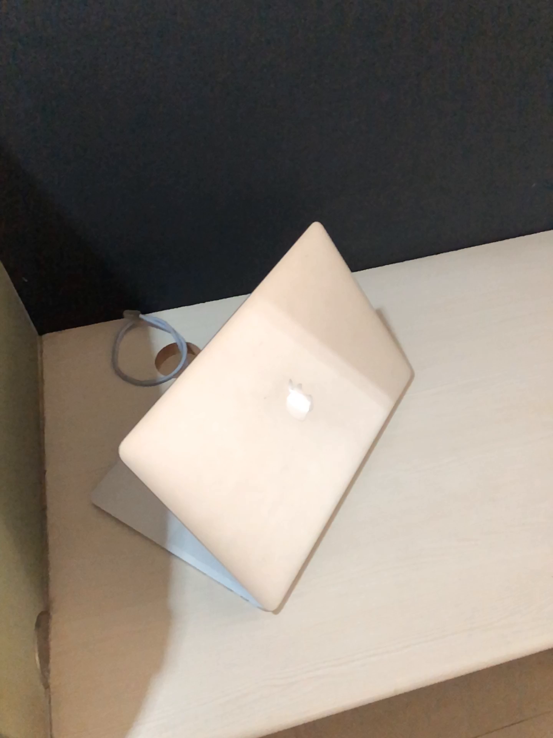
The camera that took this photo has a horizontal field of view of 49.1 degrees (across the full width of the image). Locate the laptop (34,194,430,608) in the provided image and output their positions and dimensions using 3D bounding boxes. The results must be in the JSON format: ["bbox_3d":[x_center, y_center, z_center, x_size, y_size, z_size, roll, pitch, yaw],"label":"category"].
[{"bbox_3d":[-0.022,0.017,0.664,0.235,0.198,0.344,24,56,19],"label":"laptop"}]
